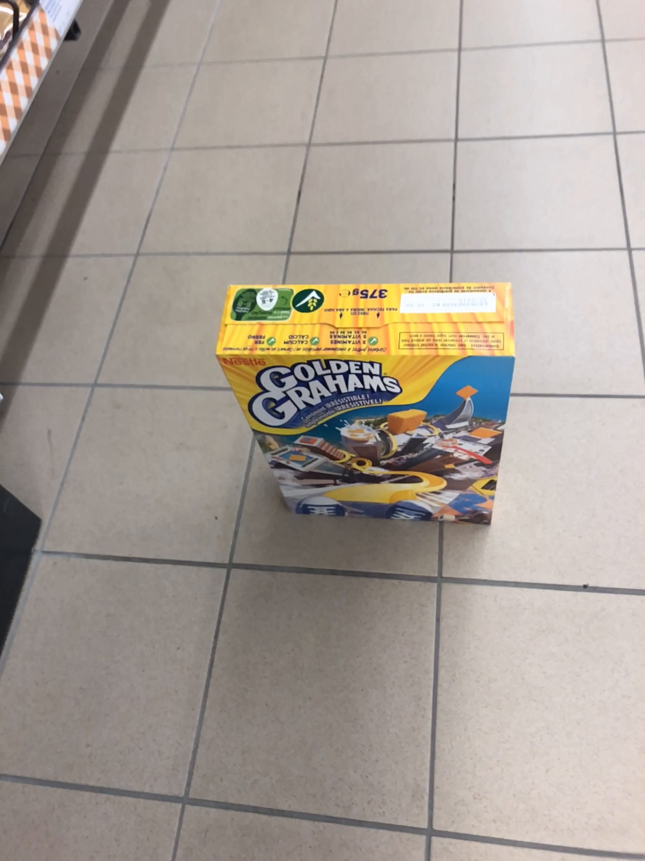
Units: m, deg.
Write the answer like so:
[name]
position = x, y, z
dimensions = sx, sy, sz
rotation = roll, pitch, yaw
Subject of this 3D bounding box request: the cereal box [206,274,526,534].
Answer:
[cereal box]
position = 0.045, -0.005, 0.576
dimensions = 0.200, 0.269, 0.070
rotation = 1, 60, 9
